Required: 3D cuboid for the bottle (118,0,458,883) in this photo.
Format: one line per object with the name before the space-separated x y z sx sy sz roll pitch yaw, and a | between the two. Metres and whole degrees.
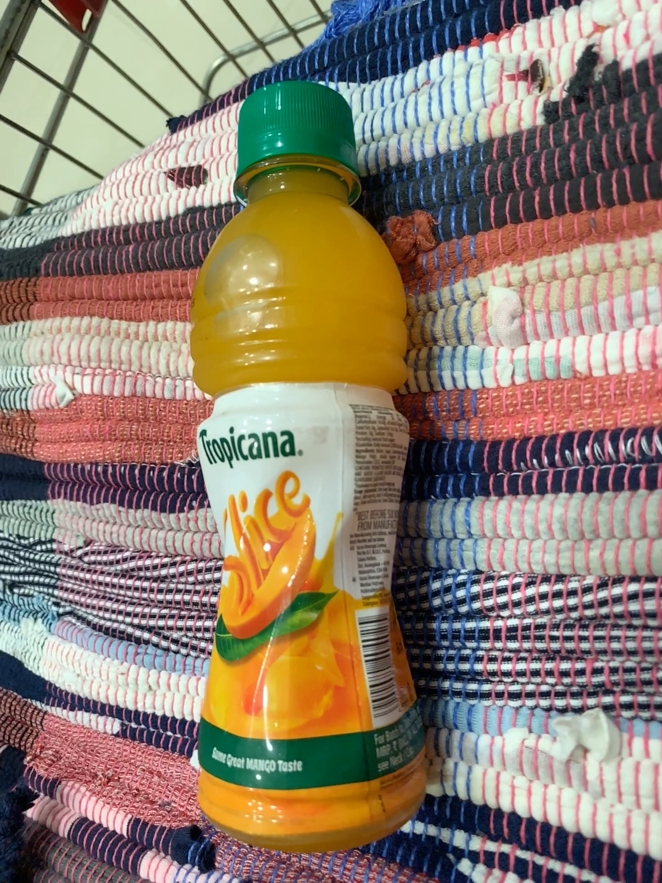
bottle | -0.006 -0.009 0.174 0.060 0.050 0.190 -3 81 32
